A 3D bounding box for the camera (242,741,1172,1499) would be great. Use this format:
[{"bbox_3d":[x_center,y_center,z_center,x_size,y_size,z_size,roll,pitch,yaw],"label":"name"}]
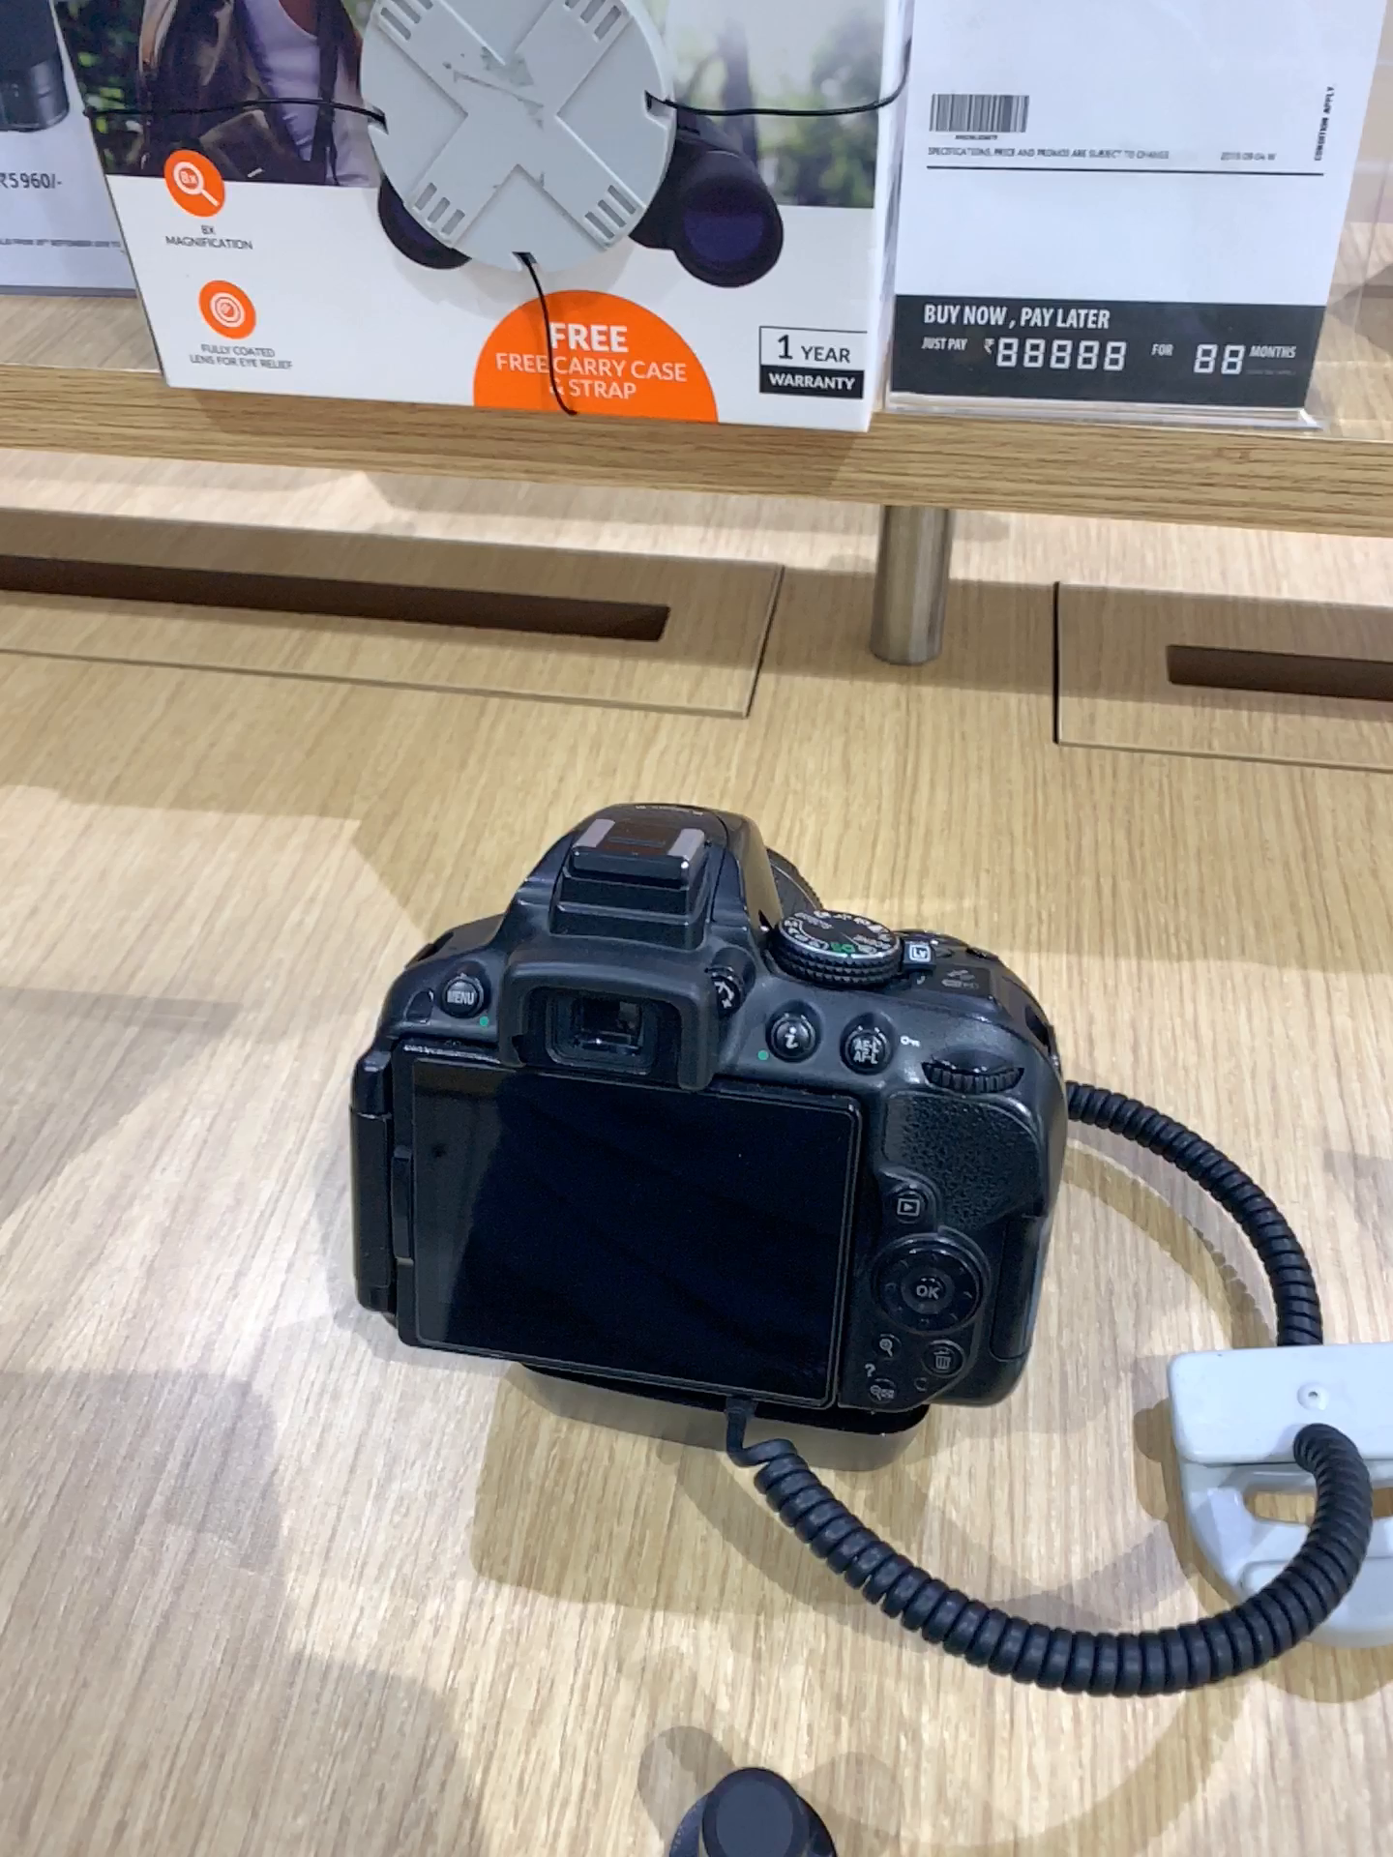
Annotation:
[{"bbox_3d":[0.006,0.023,0.264,0.130,0.080,0.110,6,22,8],"label":"camera"}]
